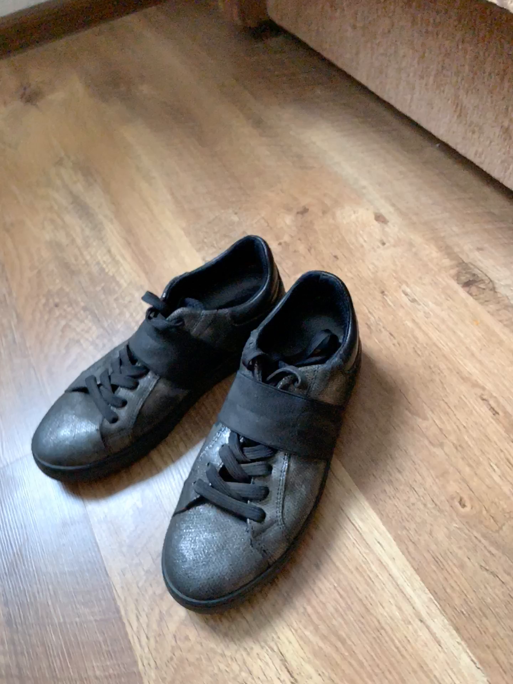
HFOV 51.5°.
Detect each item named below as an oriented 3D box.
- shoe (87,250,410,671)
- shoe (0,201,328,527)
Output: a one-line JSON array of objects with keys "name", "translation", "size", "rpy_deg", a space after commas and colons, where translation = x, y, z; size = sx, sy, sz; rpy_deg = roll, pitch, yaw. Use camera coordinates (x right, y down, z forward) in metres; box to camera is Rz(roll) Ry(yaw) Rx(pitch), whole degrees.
[{"name": "shoe", "translation": [0.014, 0.066, 0.377], "size": [0.100, 0.090, 0.260], "rpy_deg": [19, 59, 21]}, {"name": "shoe", "translation": [-0.072, 0.009, 0.428], "size": [0.260, 0.090, 0.100], "rpy_deg": [-37, 57, -17]}]
